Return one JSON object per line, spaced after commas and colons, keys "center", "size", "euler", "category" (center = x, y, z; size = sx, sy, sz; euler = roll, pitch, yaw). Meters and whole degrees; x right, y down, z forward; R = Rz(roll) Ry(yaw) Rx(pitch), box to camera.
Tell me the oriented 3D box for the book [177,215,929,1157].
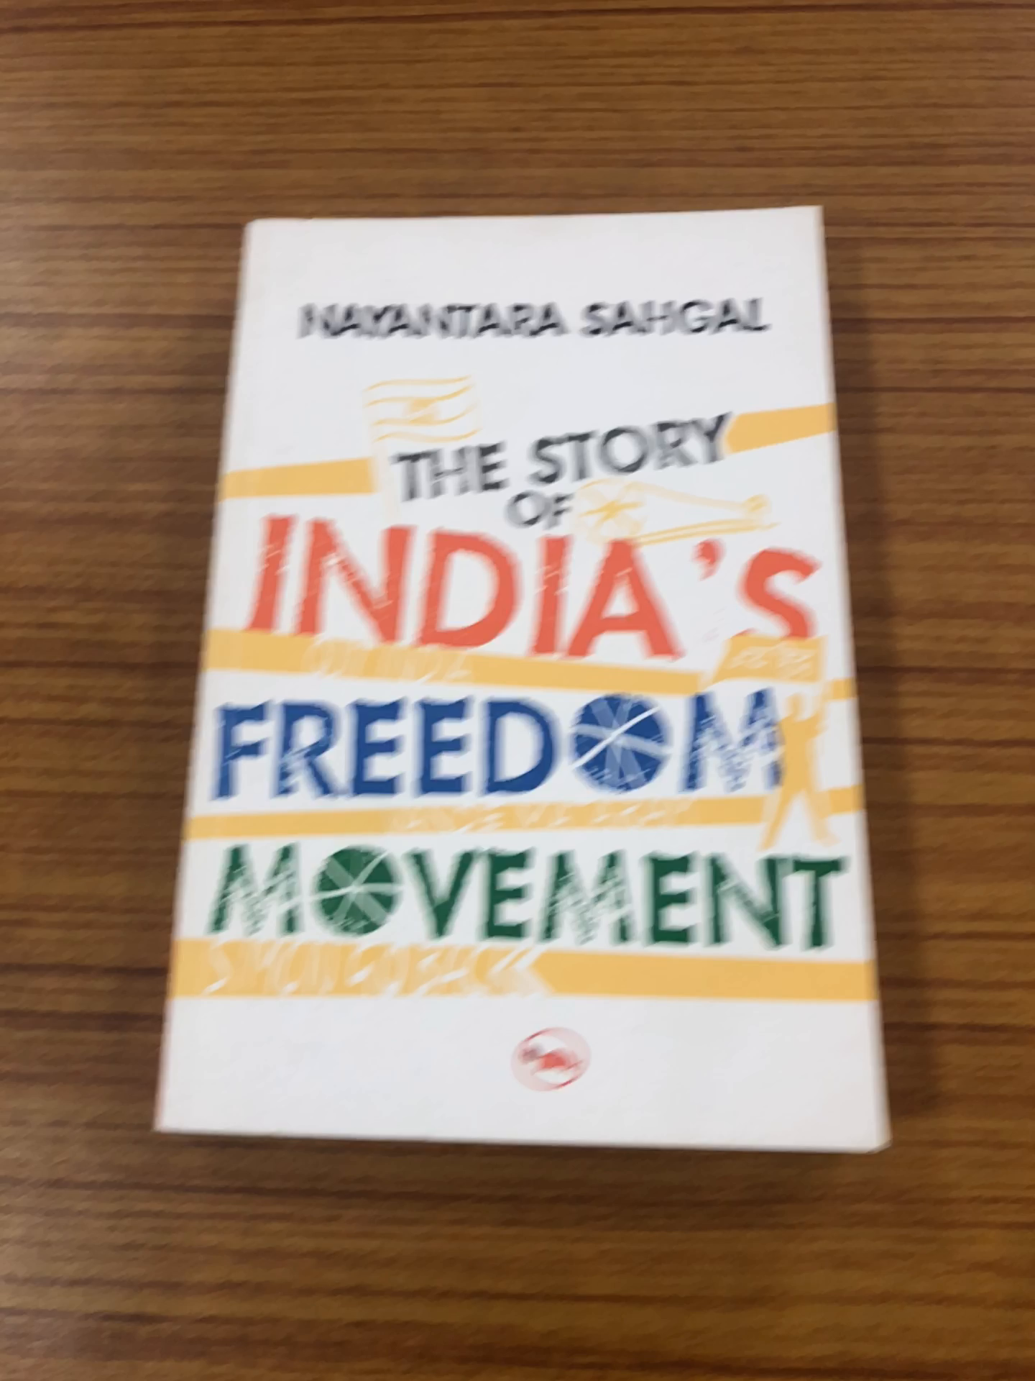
{"center": [0.007, -0.007, 0.243], "size": [0.130, 0.030, 0.190], "euler": [0, 73, 3], "category": "book"}
